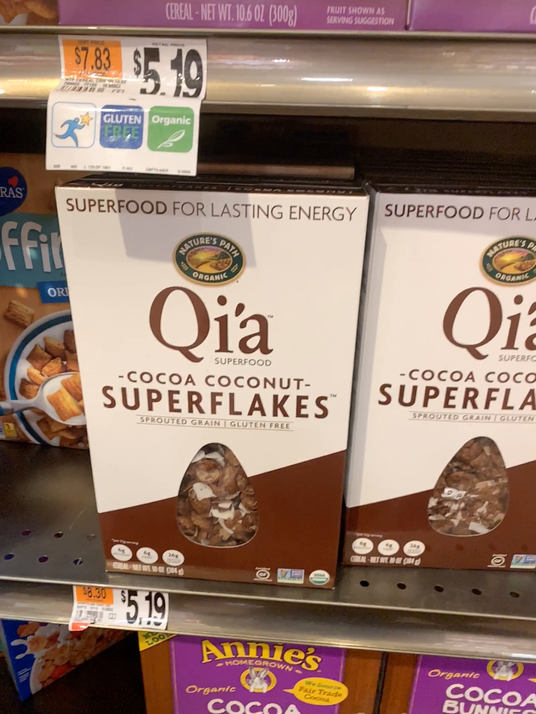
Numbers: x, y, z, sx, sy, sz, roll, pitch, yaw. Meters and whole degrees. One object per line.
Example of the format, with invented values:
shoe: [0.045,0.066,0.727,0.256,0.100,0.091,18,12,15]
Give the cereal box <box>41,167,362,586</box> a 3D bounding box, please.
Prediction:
cereal box: [-0.035,0.020,0.352,0.160,0.259,0.060,3,24,3]
